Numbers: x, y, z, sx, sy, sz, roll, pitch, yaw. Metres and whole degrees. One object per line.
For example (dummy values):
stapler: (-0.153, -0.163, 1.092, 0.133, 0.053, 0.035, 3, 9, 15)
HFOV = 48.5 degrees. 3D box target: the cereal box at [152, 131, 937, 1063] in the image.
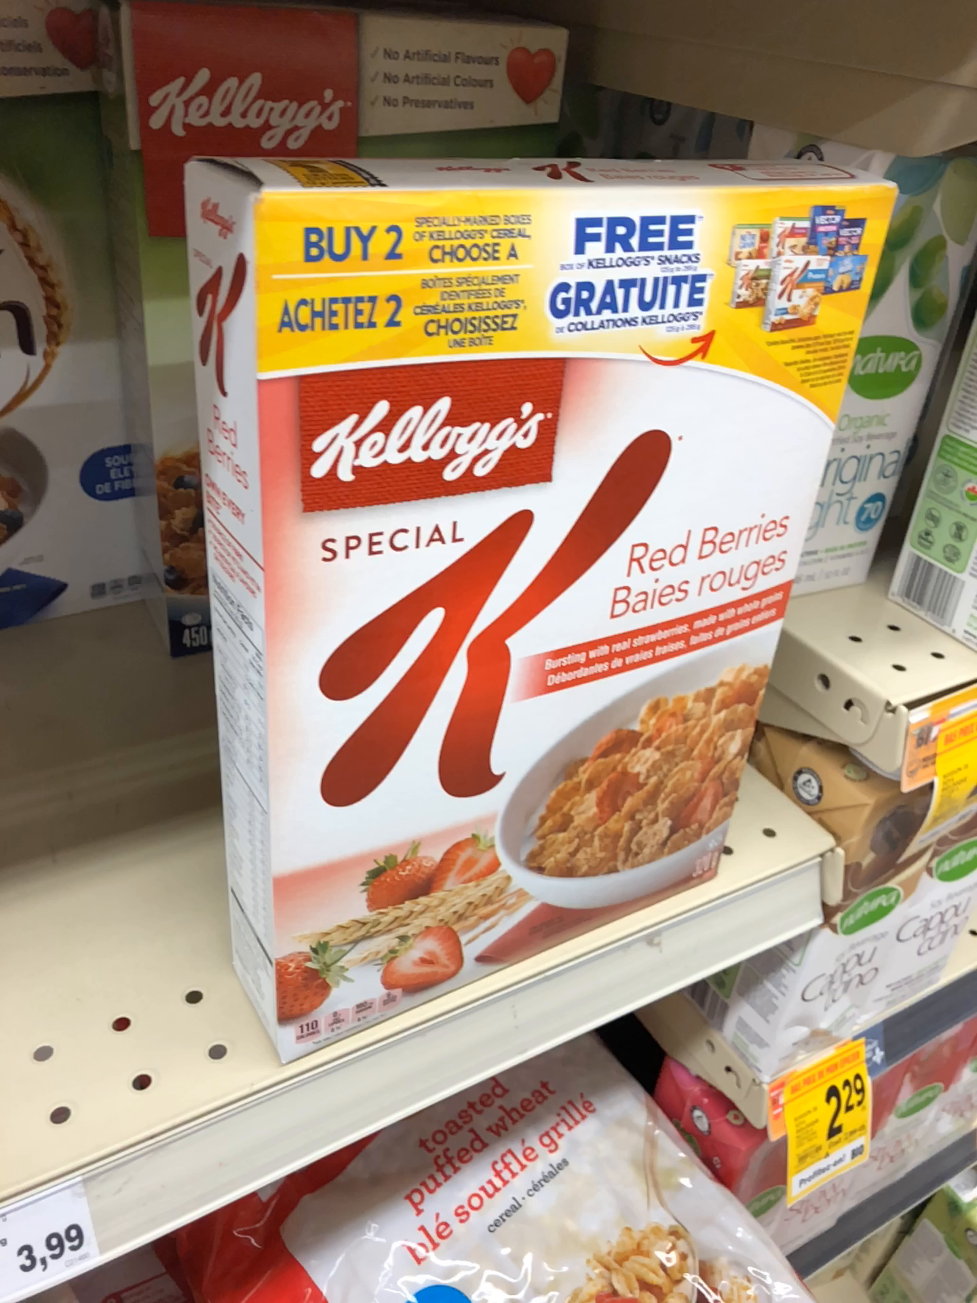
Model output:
cereal box: (0.012, -0.013, 0.322, 0.190, 0.248, 0.050, -15, 38, -29)
